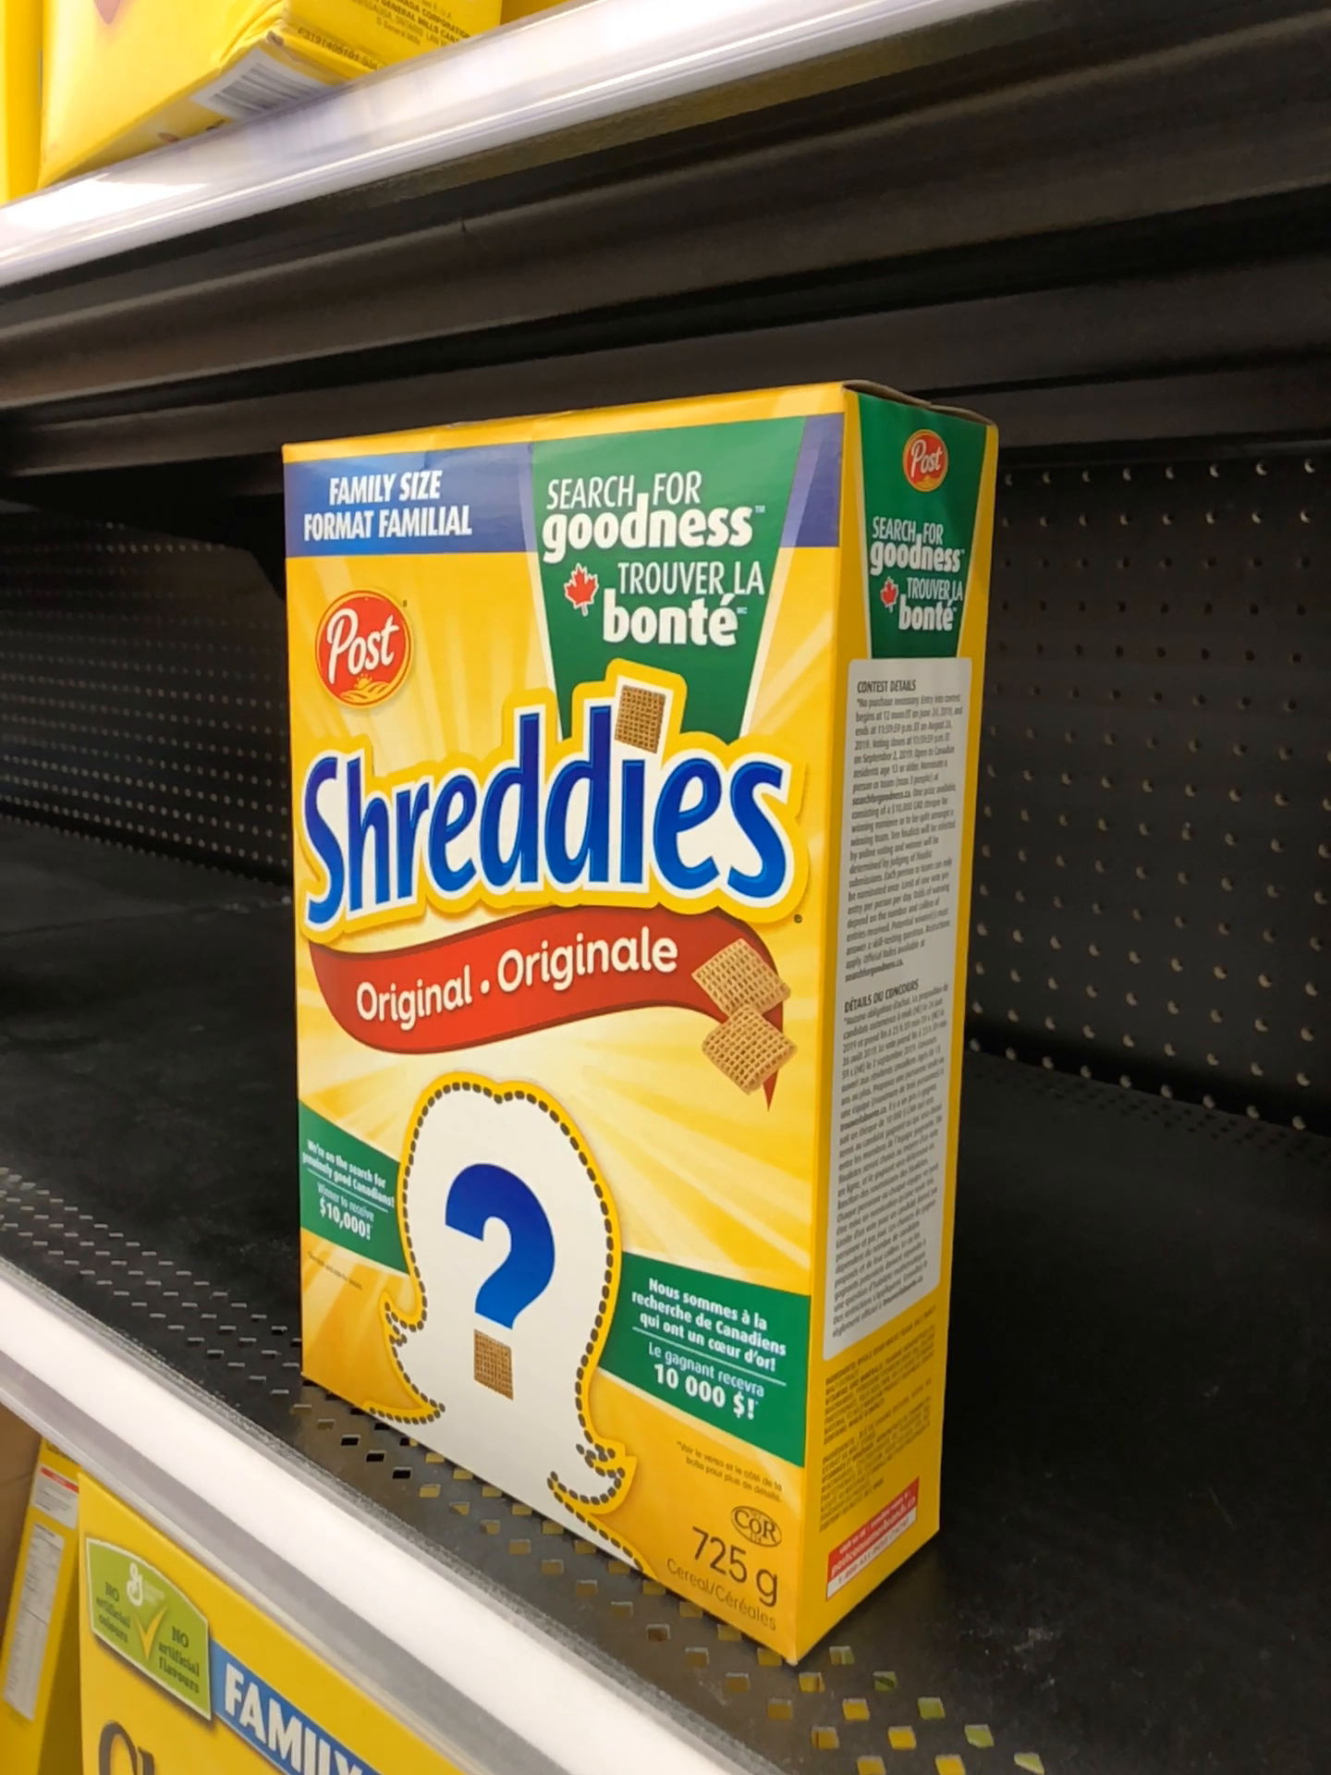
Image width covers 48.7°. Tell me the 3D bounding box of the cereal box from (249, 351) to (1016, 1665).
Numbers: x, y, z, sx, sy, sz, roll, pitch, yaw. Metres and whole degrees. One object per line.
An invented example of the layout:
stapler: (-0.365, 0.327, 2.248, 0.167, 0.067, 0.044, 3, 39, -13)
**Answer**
cereal box: (-0.024, 0.018, 0.410, 0.210, 0.289, 0.070, 10, 12, 40)
